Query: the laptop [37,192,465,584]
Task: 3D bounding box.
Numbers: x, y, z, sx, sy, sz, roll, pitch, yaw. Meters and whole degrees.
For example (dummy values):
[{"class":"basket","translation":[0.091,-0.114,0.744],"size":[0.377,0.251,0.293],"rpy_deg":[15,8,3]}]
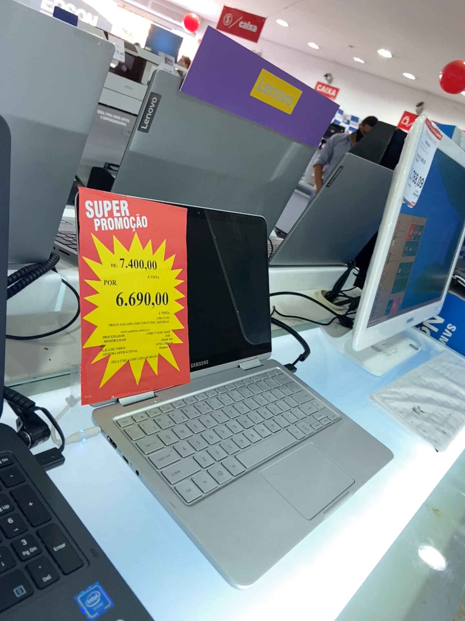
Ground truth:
[{"class":"laptop","translation":[0.027,0.033,0.512],"size":[0.310,0.170,0.306],"rpy_deg":[36,25,31]}]
